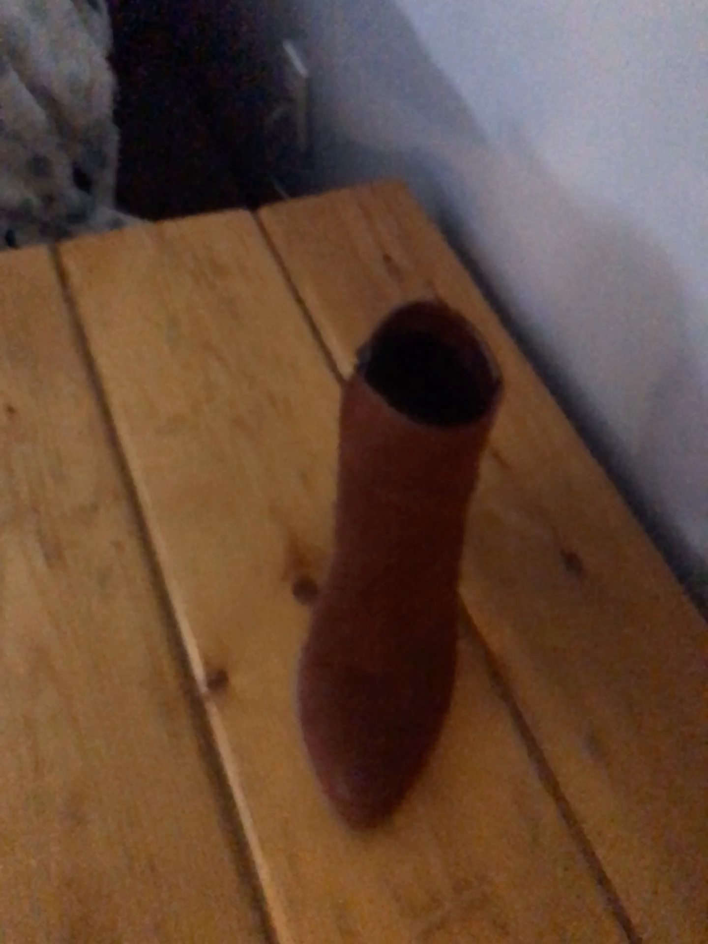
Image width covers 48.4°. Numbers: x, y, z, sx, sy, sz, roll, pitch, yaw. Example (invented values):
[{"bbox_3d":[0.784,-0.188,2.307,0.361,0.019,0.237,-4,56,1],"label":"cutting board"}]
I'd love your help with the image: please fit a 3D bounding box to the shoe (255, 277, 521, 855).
[{"bbox_3d":[0.021,0.046,0.415,0.090,0.150,0.250,10,55,1],"label":"shoe"}]
